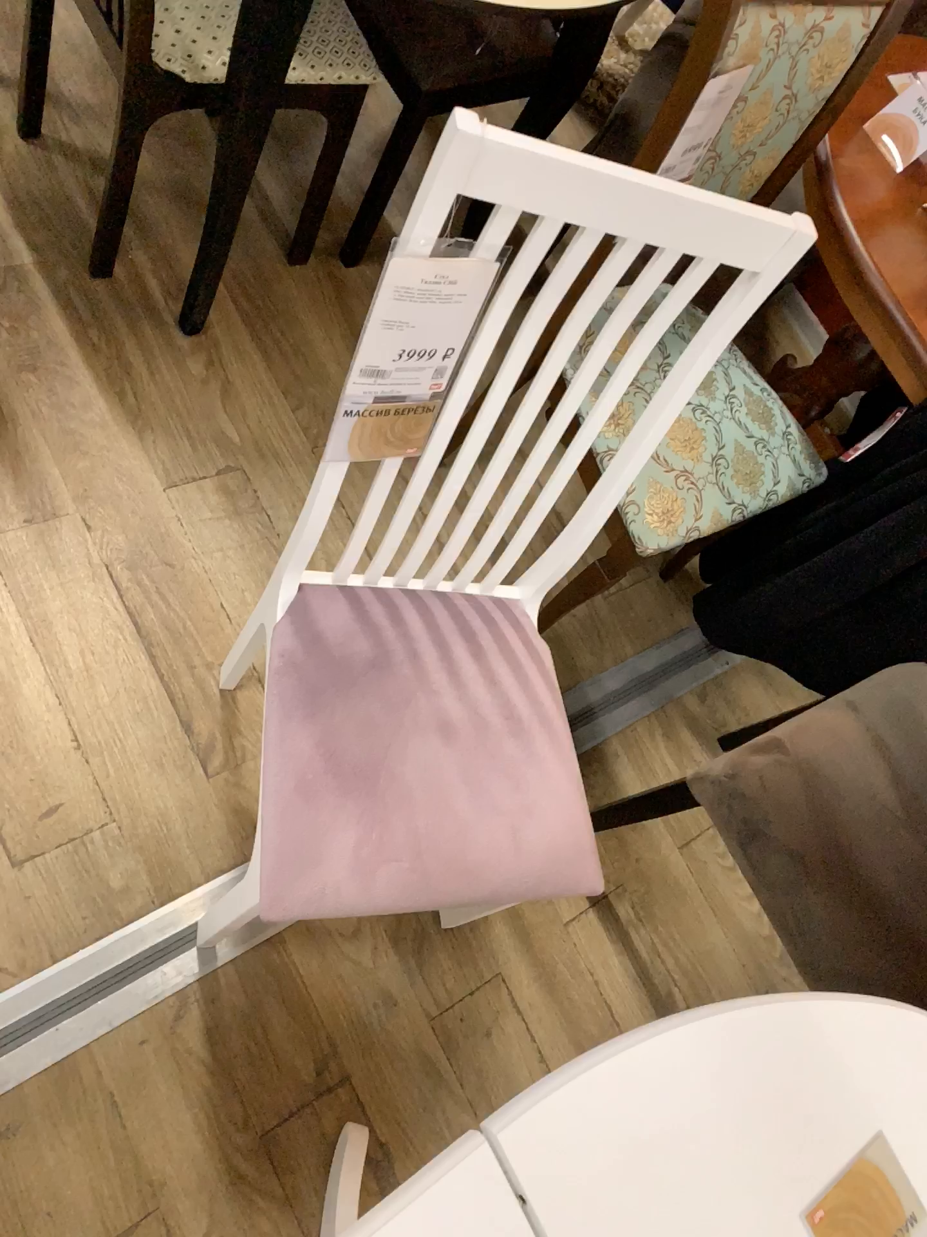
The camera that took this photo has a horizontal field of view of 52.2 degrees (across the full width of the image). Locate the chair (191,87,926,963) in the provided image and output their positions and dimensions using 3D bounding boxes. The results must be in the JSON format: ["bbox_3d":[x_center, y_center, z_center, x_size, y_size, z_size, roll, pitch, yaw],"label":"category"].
[{"bbox_3d":[-0.002,0.061,1.095,0.441,1.004,0.521,3,66,-25],"label":"chair"}]
